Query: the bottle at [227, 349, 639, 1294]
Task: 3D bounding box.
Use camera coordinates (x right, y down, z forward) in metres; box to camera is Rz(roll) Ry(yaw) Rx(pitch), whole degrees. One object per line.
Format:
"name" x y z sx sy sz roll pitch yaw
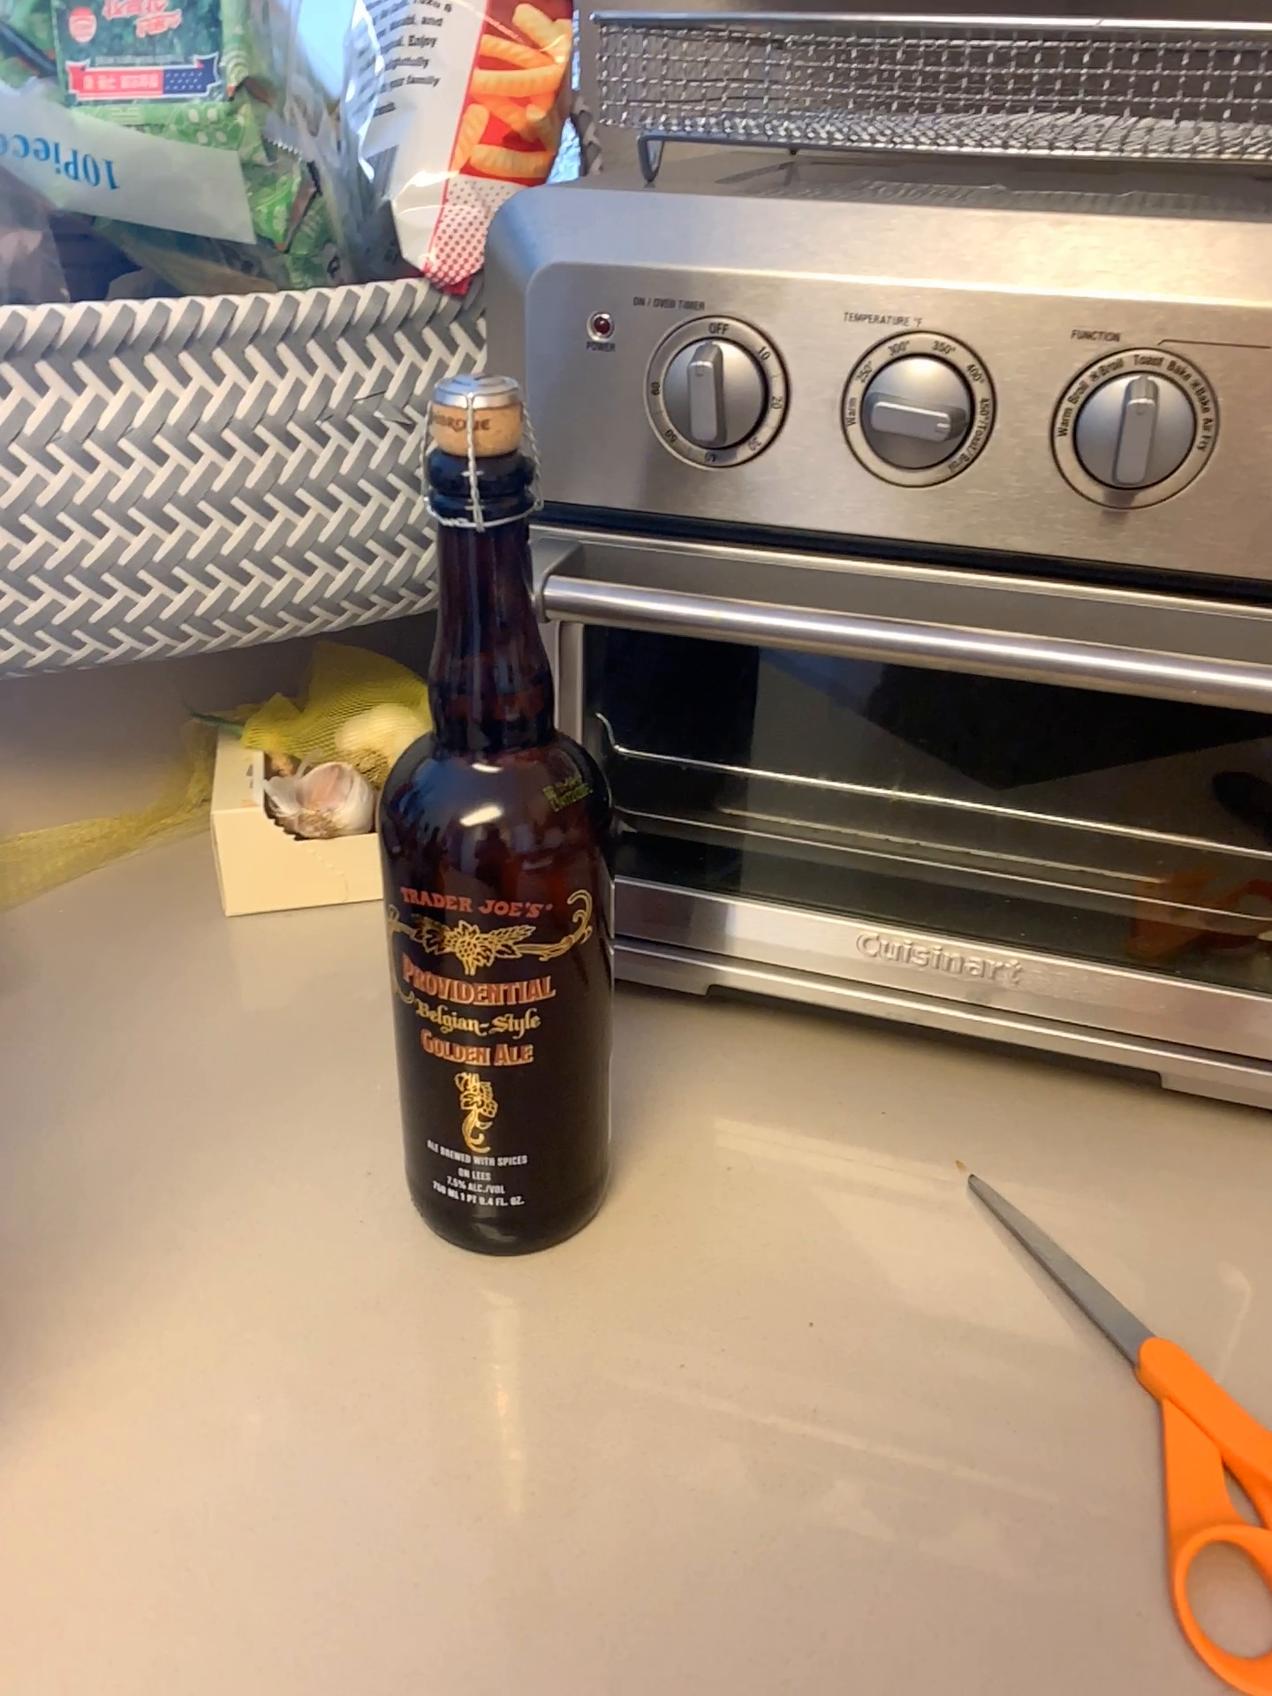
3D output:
"bottle" -0.054 0.003 0.428 0.090 0.298 0.080 6 30 9
